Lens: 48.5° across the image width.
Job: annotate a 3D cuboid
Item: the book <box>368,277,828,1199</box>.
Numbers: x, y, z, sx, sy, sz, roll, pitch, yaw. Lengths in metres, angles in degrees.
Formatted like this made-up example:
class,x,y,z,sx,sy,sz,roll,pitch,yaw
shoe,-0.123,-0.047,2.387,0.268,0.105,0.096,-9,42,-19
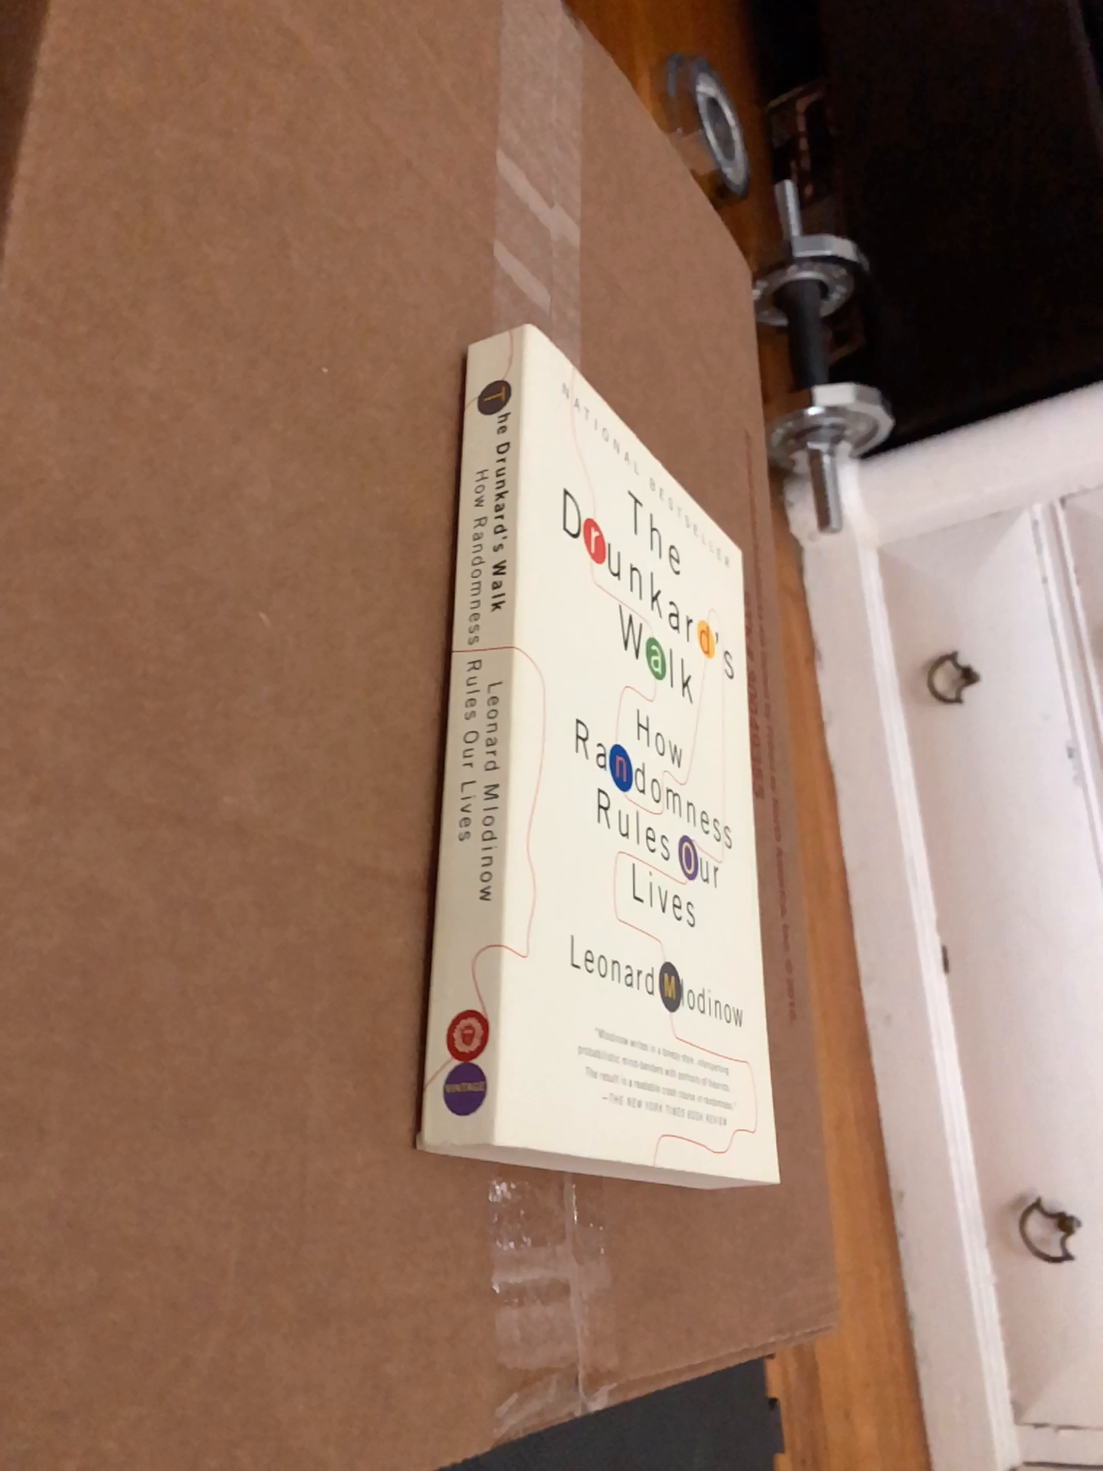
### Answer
class,x,y,z,sx,sy,sz,roll,pitch,yaw
book,0.020,0.009,0.329,0.141,0.040,0.210,31,53,-50
